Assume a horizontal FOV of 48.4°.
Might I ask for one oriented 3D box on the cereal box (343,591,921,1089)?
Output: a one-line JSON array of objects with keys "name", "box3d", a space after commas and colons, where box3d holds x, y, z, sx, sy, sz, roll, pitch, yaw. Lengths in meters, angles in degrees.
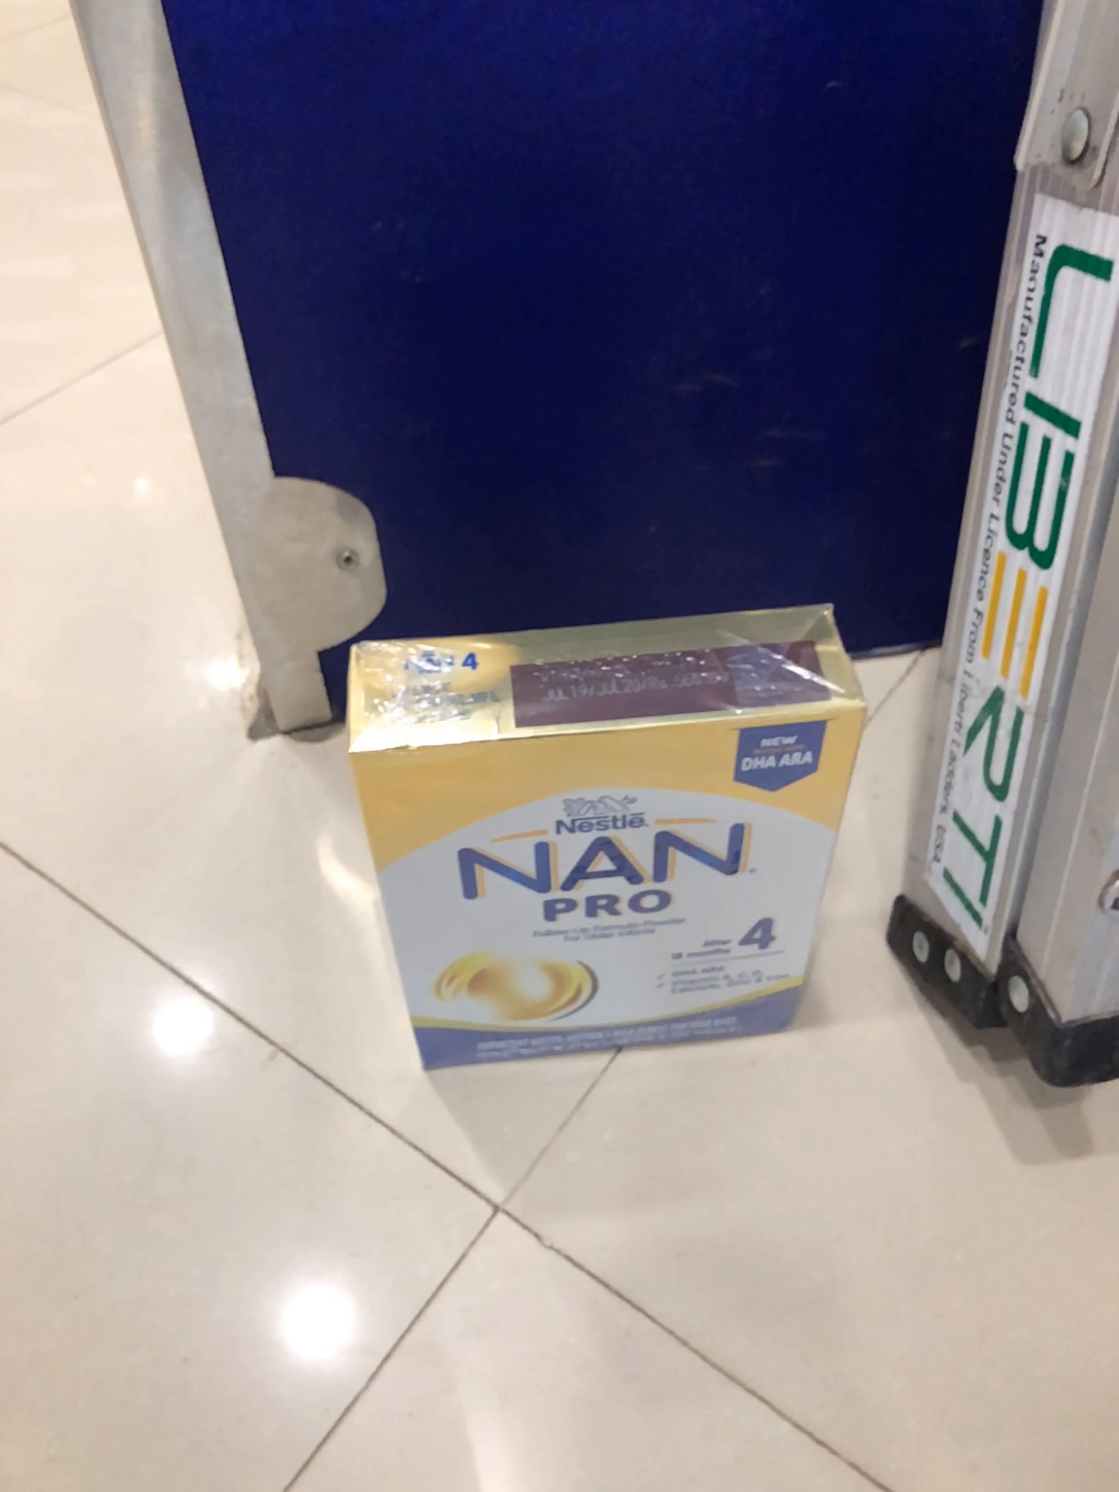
[{"name": "cereal box", "box3d": [0.023, 0.046, 0.458, 0.170, 0.209, 0.050, -5, 48, -2]}]
